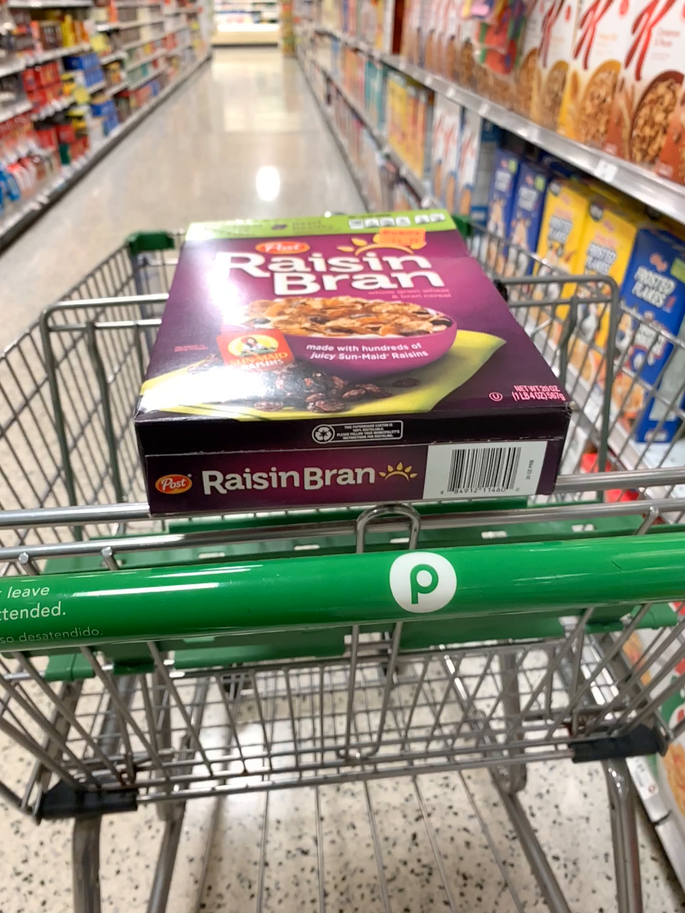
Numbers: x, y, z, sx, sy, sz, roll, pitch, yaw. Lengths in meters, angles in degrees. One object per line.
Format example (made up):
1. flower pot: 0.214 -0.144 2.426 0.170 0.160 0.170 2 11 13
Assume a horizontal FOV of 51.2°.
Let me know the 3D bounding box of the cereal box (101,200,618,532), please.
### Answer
1. cereal box: -0.004 -0.078 0.421 0.210 0.059 0.283 -4 35 -4
